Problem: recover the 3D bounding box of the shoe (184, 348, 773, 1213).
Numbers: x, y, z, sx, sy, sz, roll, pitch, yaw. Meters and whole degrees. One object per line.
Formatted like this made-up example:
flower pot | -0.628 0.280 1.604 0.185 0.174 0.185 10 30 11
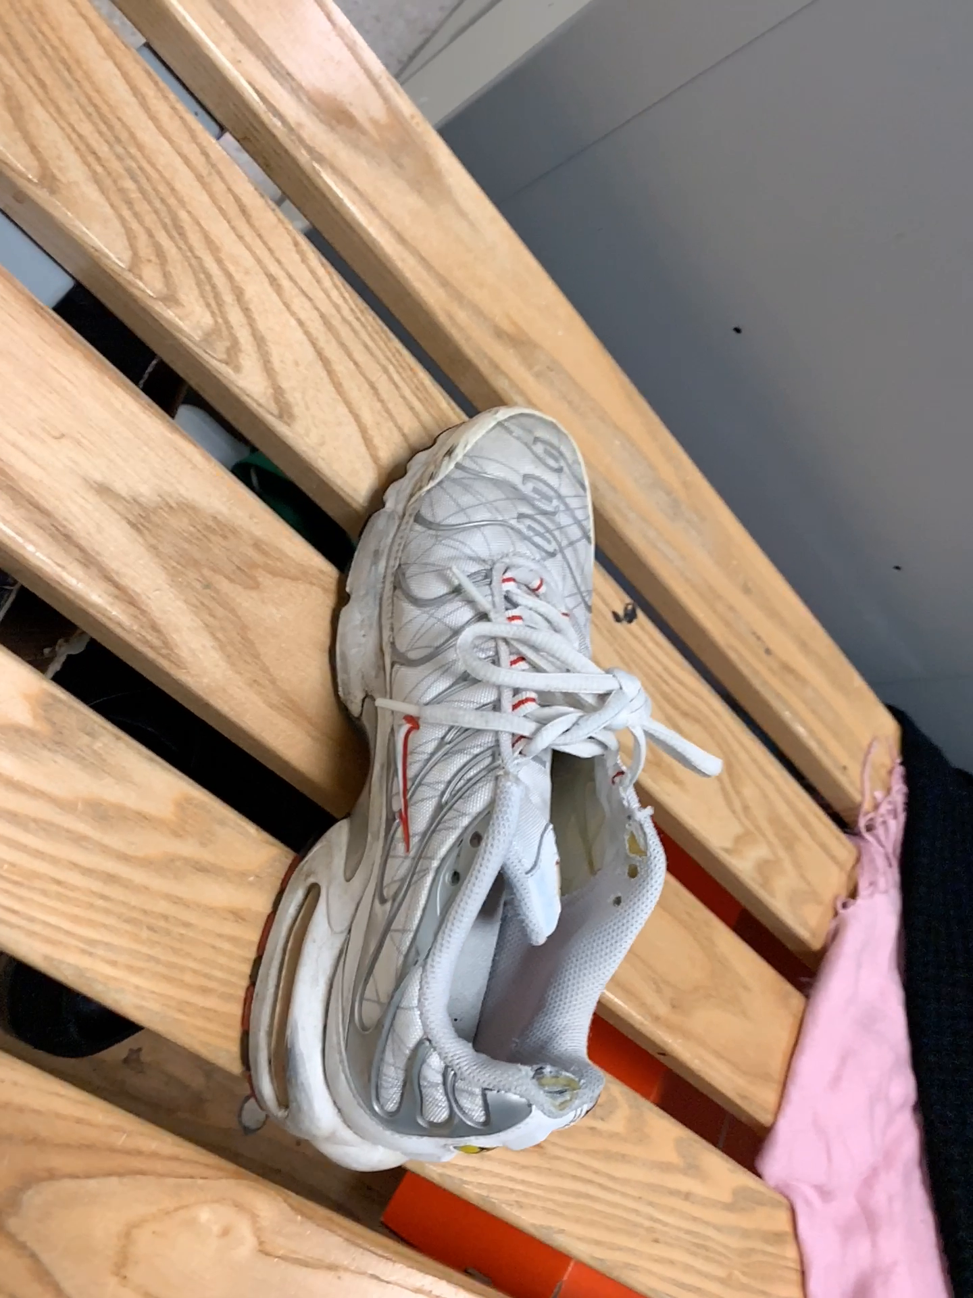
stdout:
shoe | 0.006 0.040 0.327 0.101 0.105 0.227 28 66 -35
